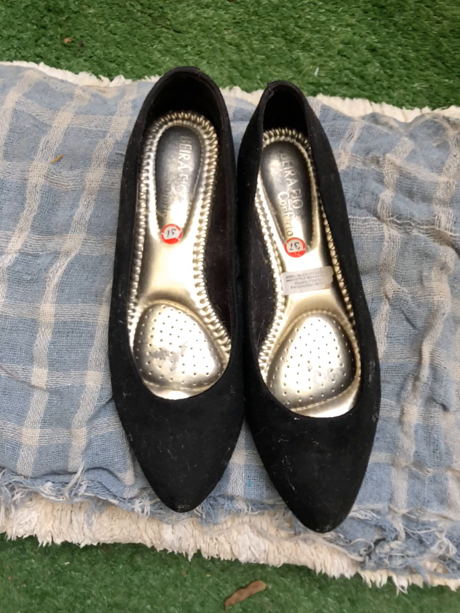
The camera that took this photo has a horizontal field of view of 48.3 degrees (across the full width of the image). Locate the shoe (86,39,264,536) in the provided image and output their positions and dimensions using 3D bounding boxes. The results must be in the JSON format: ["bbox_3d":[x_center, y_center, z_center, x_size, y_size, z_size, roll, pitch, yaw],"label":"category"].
[{"bbox_3d":[-0.031,-0.014,0.316,0.090,0.080,0.270,-2,82,0],"label":"shoe"}]

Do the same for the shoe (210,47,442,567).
[{"bbox_3d":[0.047,-0.004,0.310,0.090,0.080,0.270,-6,82,0],"label":"shoe"}]
